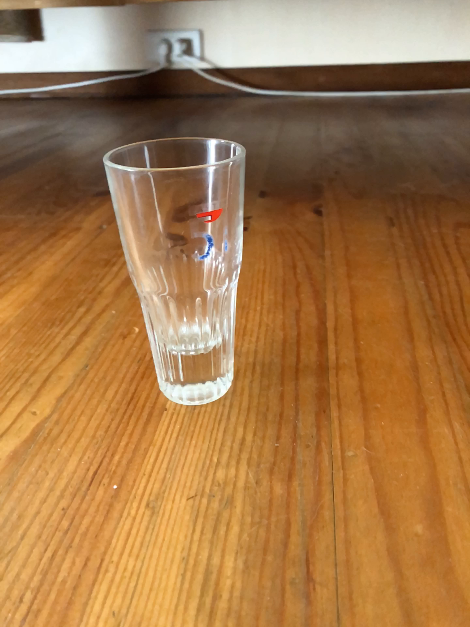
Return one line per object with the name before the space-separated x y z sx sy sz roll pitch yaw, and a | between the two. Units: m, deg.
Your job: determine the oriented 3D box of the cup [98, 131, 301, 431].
cup | -0.016 -0.019 0.253 0.064 0.116 0.068 -2 28 1
